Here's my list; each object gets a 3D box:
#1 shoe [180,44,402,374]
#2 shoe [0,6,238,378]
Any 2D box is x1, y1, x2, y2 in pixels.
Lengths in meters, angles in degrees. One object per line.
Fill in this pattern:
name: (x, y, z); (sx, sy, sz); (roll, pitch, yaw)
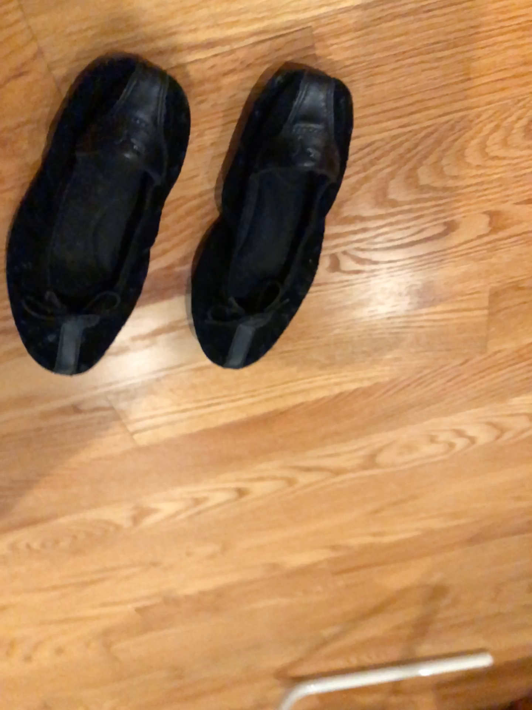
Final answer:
shoe: (0.004, -0.084, 0.416); (0.093, 0.046, 0.220); (5, 132, -16)
shoe: (-0.108, -0.087, 0.390); (0.100, 0.050, 0.220); (12, 129, -22)
